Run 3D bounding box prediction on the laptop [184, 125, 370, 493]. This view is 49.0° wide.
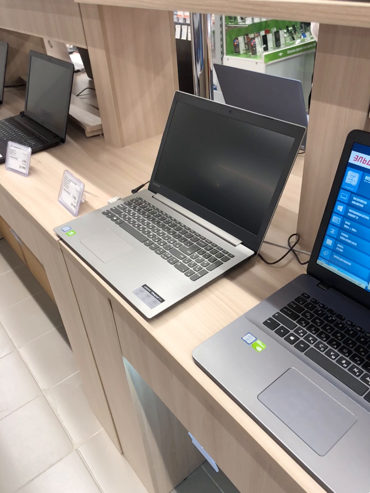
[{"bbox_3d":[0.256,0.074,0.468,0.334,0.246,0.404,-27,41,-28],"label":"laptop"}]

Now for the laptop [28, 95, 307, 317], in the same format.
[{"bbox_3d":[-0.038,-0.122,0.807,0.366,0.208,0.371,-27,40,-28],"label":"laptop"}]
